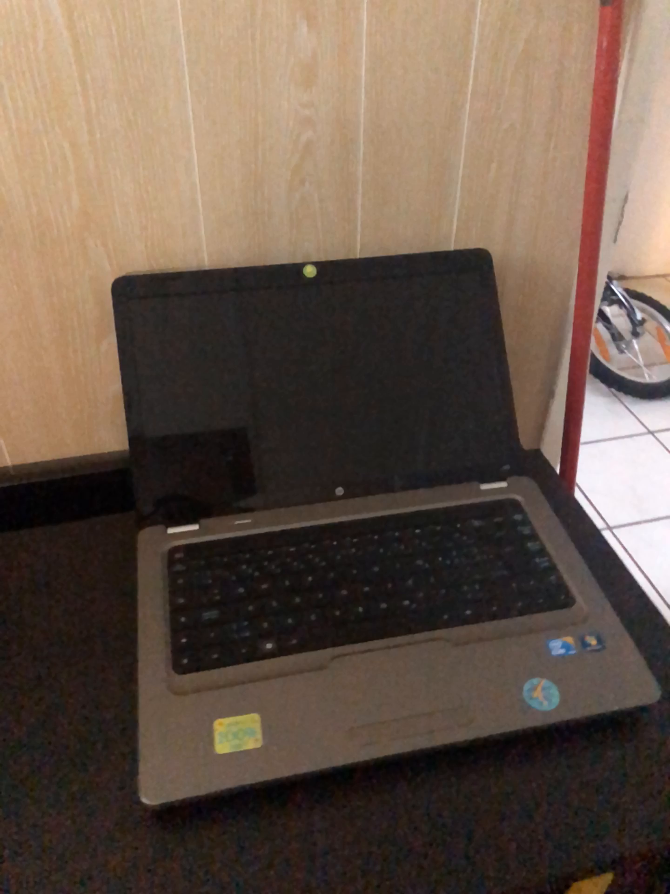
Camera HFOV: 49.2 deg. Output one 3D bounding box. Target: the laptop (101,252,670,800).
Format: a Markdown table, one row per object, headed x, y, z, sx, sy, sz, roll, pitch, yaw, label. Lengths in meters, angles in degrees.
| x | y | z | sx | sy | sz | roll | pitch | yaw | label |
| --- | --- | --- | --- | --- | --- | --- | --- | --- | --- |
| 0.014 | 0.016 | 0.608 | 0.356 | 0.166 | 0.404 | -8 | 39 | -9 | laptop |
